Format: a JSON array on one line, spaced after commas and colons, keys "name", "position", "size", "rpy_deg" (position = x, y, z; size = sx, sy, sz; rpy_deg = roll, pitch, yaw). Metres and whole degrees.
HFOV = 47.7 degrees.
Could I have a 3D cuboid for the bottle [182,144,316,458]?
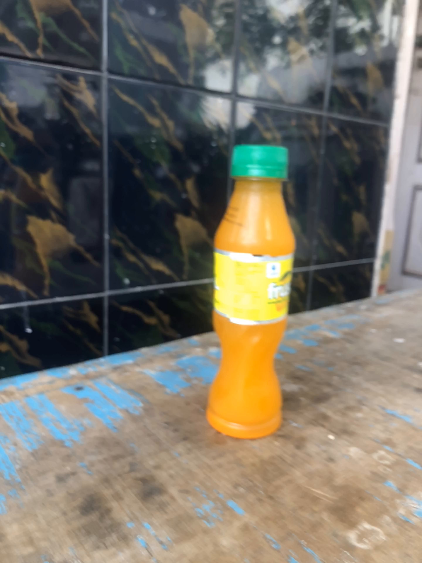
[{"name": "bottle", "position": [0.022, 0.007, 0.287], "size": [0.050, 0.170, 0.060], "rpy_deg": [9, 14, 27]}]
